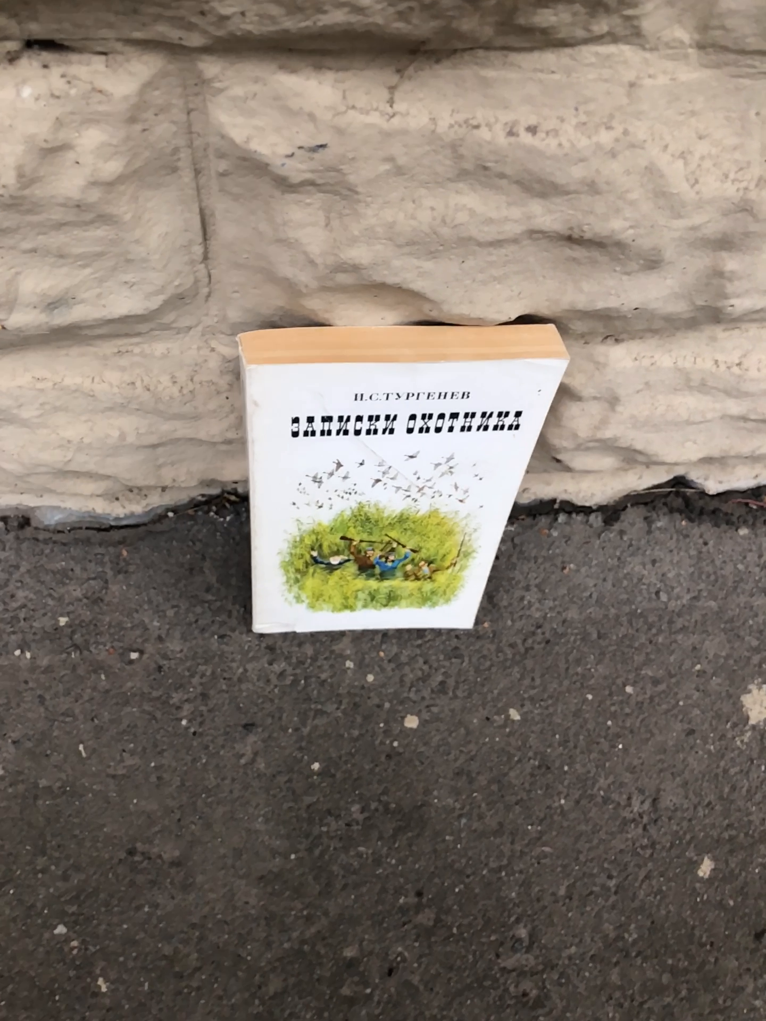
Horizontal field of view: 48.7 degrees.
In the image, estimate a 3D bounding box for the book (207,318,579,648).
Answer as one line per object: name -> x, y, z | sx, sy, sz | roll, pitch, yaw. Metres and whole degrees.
book -> -0.003, -0.002, 0.388 | 0.137, 0.183, 0.032 | -1, 49, -7
